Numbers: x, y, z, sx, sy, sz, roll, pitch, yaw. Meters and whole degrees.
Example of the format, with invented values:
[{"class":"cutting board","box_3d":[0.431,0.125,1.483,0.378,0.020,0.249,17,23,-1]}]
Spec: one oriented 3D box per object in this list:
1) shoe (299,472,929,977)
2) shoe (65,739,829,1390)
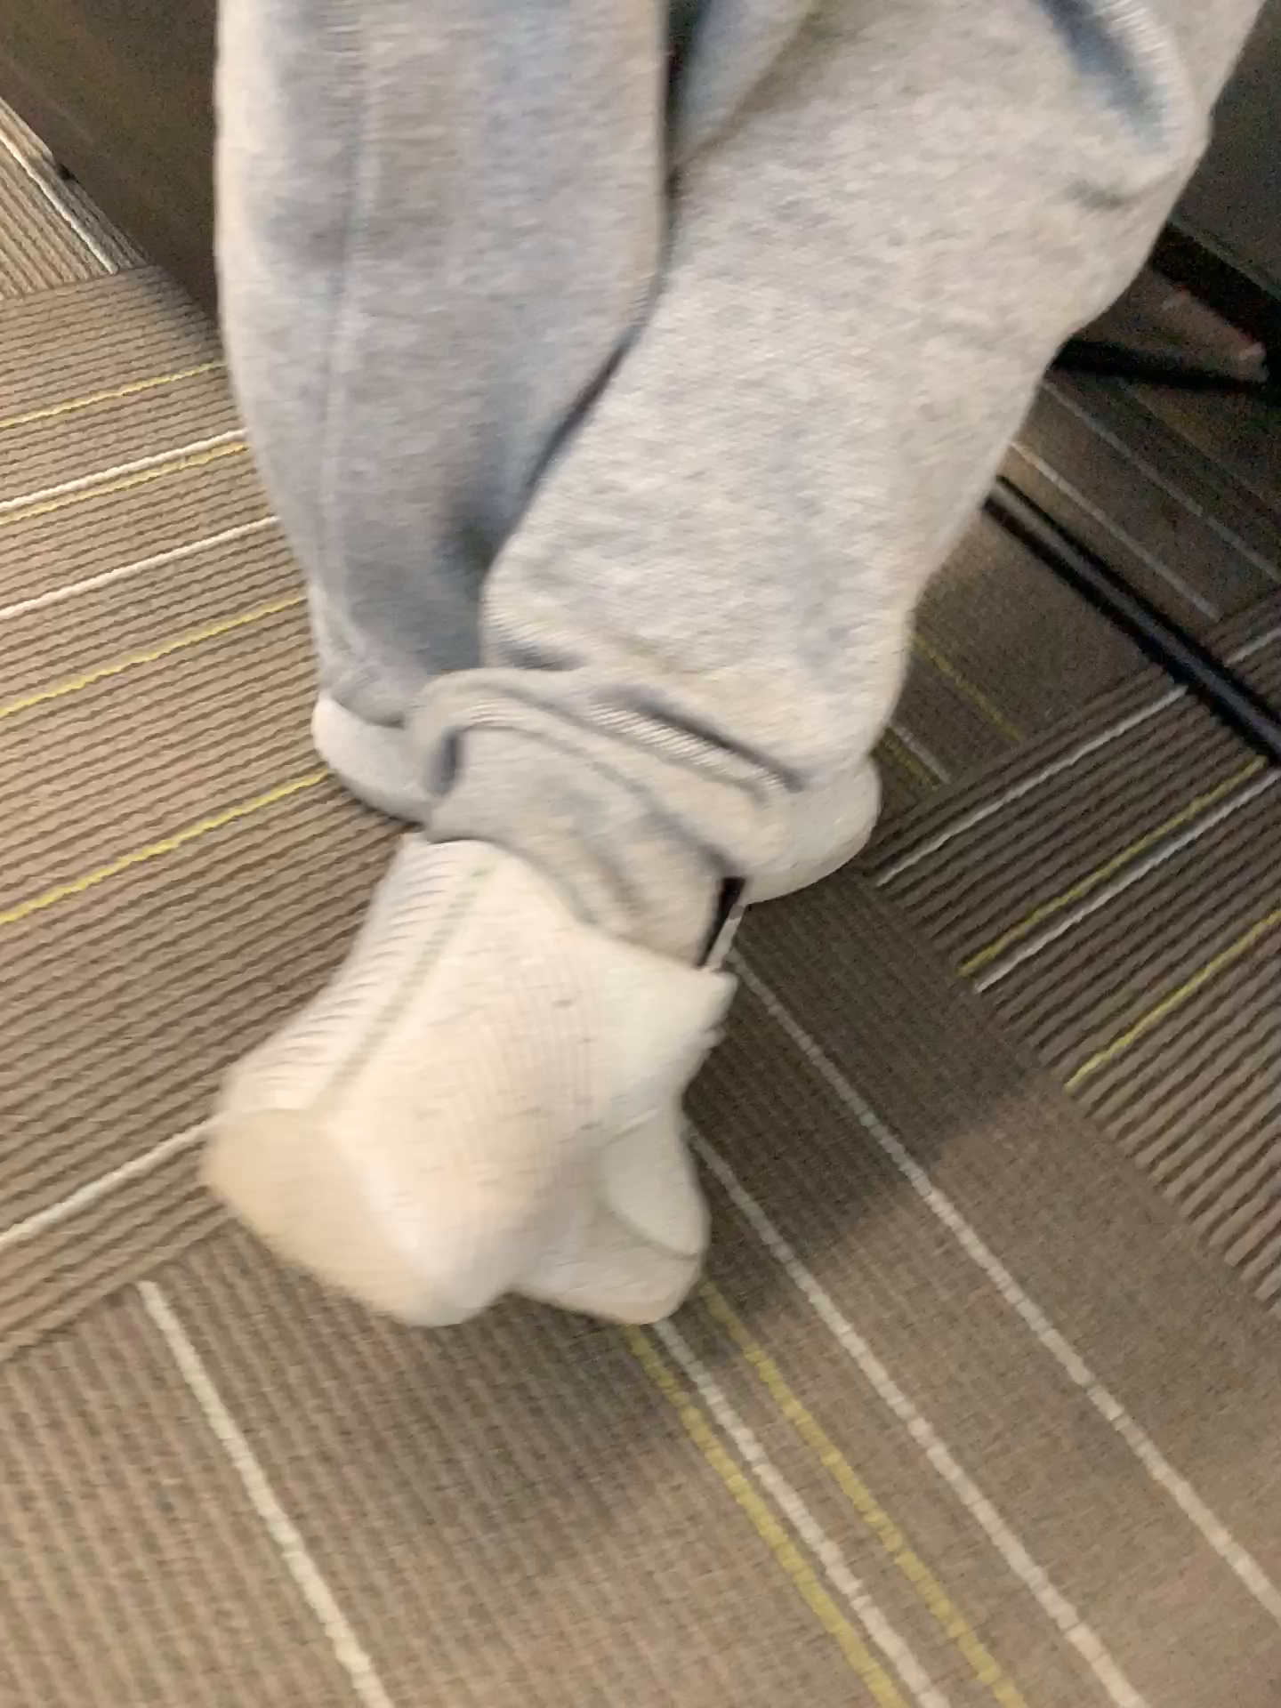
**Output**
[{"class":"shoe","box_3d":[-0.015,-0.062,0.679,0.280,0.149,0.130,14,55,-2]},{"class":"shoe","box_3d":[-0.032,0.093,0.447,0.120,0.279,0.120,25,77,22]}]
